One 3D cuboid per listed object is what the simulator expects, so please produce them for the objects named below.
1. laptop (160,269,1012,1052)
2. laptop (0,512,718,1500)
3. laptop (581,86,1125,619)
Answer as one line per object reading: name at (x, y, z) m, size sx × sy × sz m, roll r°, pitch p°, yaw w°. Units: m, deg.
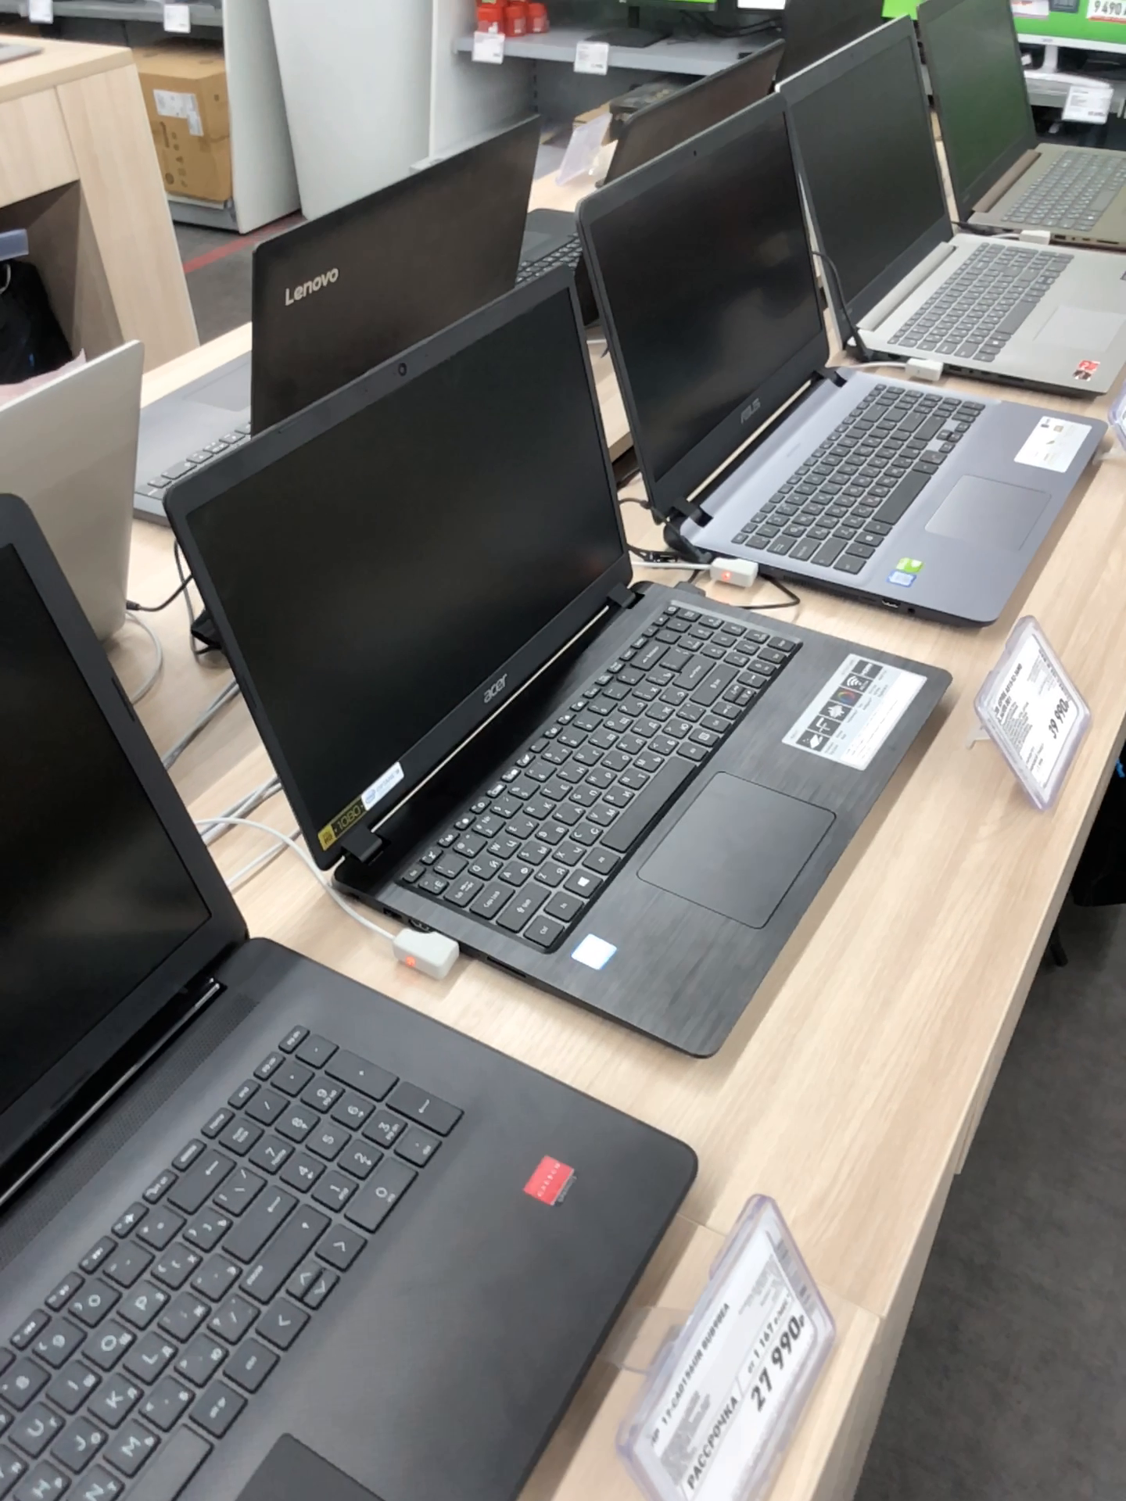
laptop at (0.033, -0.083, 0.691) m, size 0.291 × 0.219 × 0.347 m, roll 20°, pitch 44°, yaw 25°
laptop at (-0.186, 0.133, 0.397) m, size 0.345 × 0.226 × 0.355 m, roll 18°, pitch 41°, yaw 20°
laptop at (0.240, -0.329, 0.956) m, size 0.324 × 0.218 × 0.328 m, roll 22°, pitch 47°, yaw 24°
